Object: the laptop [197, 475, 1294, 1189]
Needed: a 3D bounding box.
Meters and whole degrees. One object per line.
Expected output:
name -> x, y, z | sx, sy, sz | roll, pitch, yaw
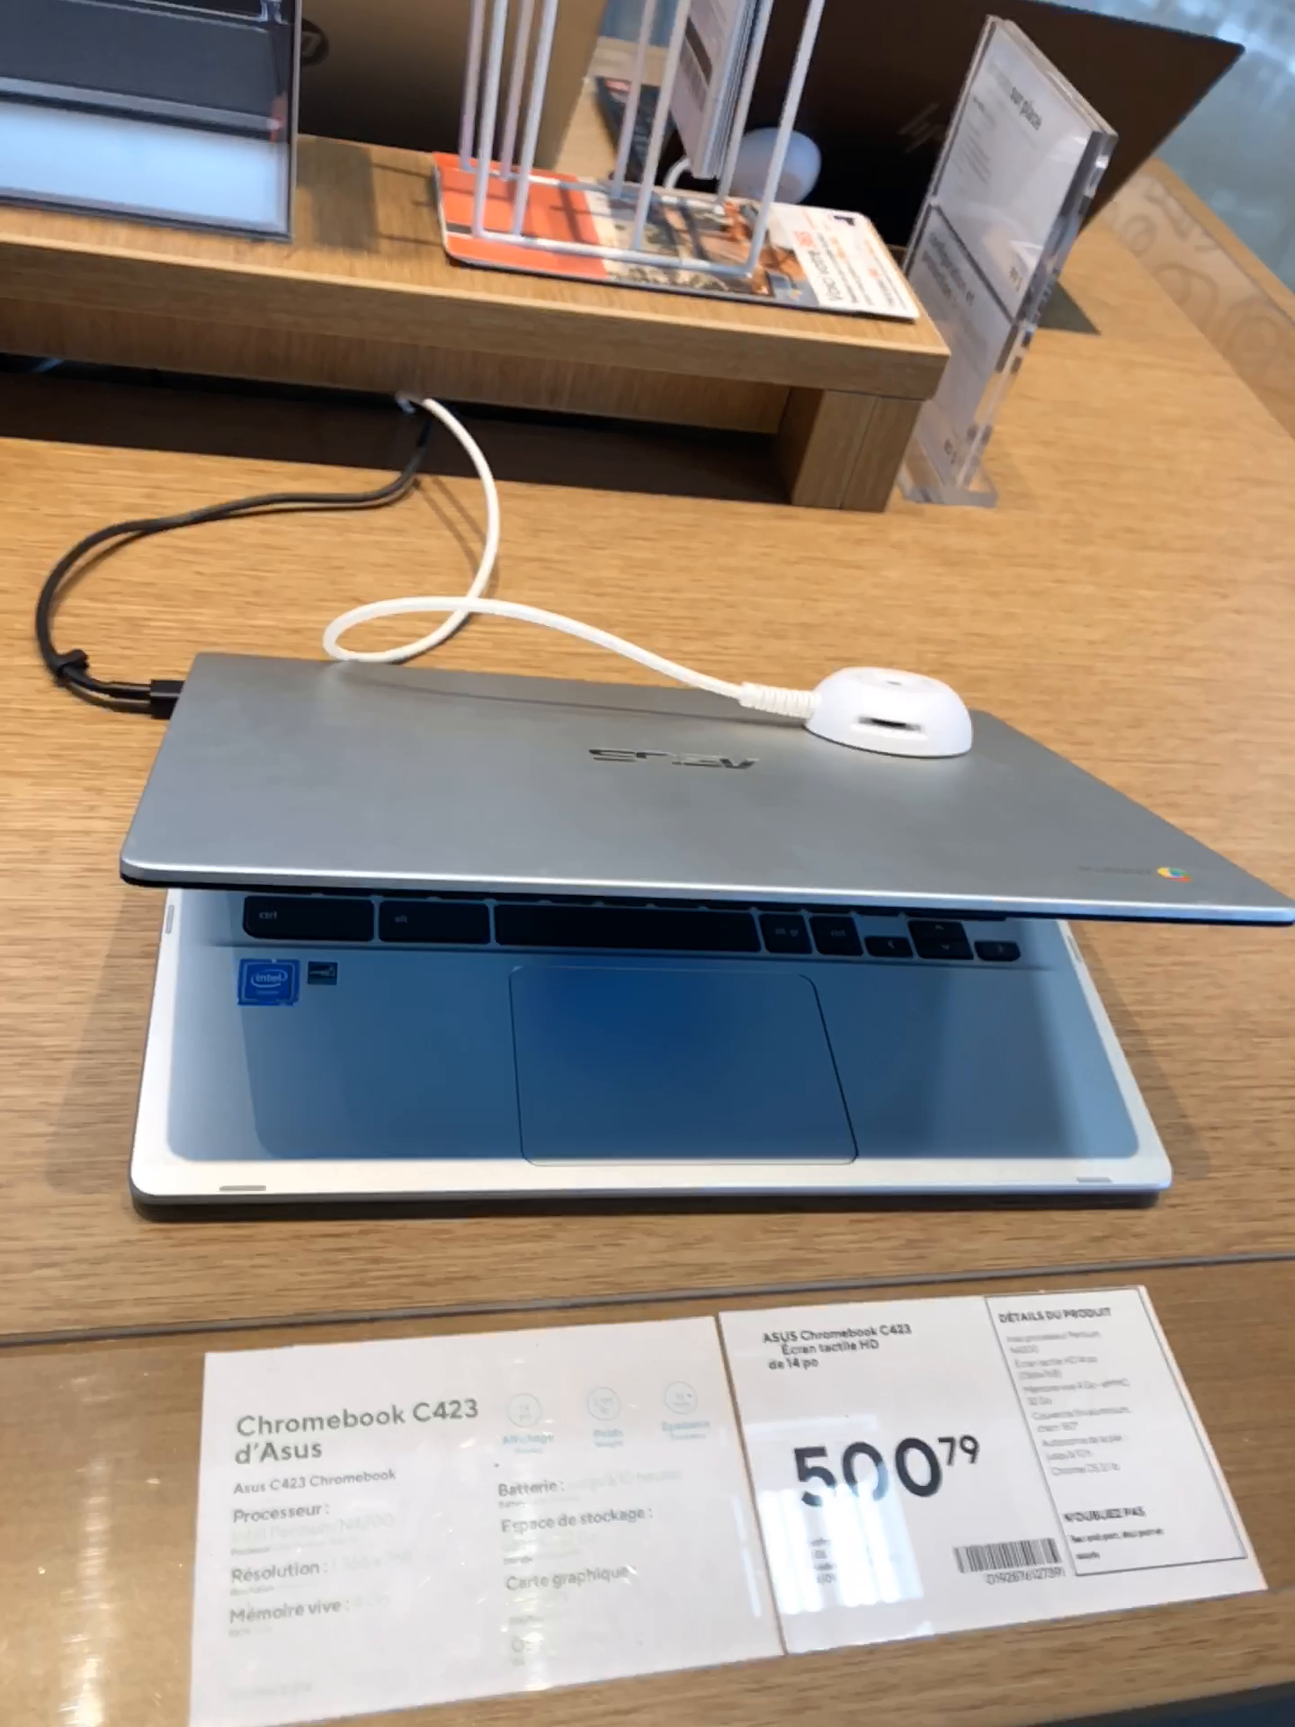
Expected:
laptop -> 0.024, -0.011, 0.459 | 0.304, 0.080, 0.206 | 3, 48, -15
